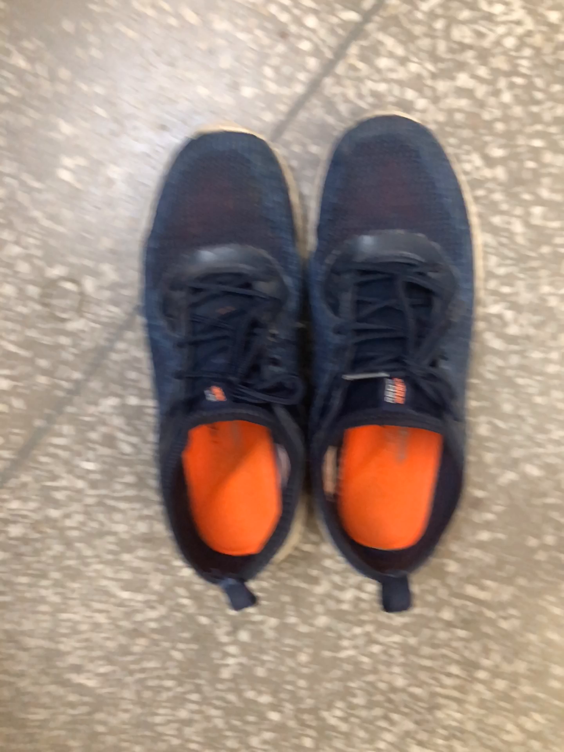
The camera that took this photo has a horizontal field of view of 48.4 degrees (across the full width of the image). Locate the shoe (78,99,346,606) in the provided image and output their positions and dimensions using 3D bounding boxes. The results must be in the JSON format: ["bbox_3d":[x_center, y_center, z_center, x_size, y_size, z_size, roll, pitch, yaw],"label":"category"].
[{"bbox_3d":[-0.029,-0.010,0.365,0.113,0.100,0.249,-4,98,5],"label":"shoe"}]

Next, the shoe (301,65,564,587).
[{"bbox_3d":[0.079,-0.022,0.355,0.123,0.100,0.249,-2,98,5],"label":"shoe"}]
